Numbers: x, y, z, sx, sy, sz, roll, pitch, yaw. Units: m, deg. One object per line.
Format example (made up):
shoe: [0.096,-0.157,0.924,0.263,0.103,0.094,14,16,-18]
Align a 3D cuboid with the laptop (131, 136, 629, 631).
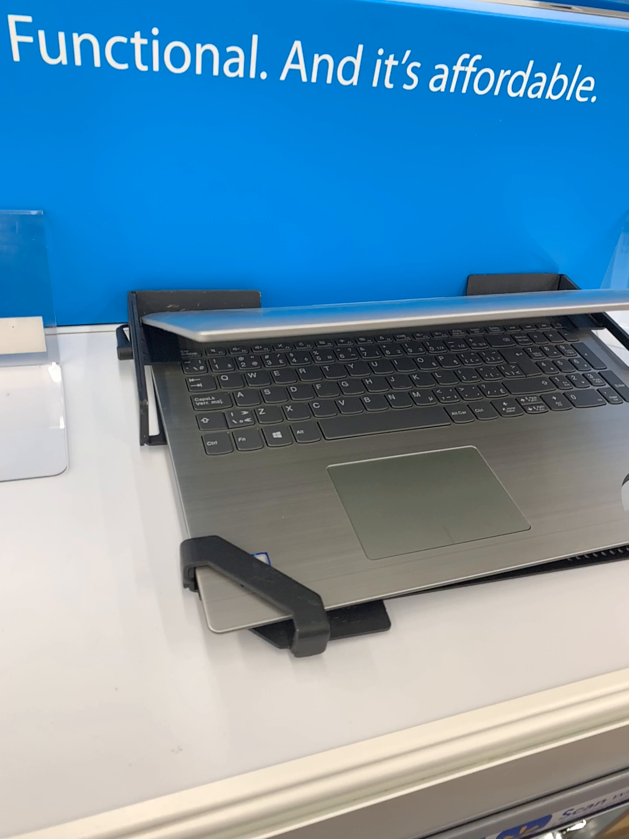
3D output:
laptop: [0.084,-0.047,0.350,0.324,0.110,0.220,-6,44,-20]
